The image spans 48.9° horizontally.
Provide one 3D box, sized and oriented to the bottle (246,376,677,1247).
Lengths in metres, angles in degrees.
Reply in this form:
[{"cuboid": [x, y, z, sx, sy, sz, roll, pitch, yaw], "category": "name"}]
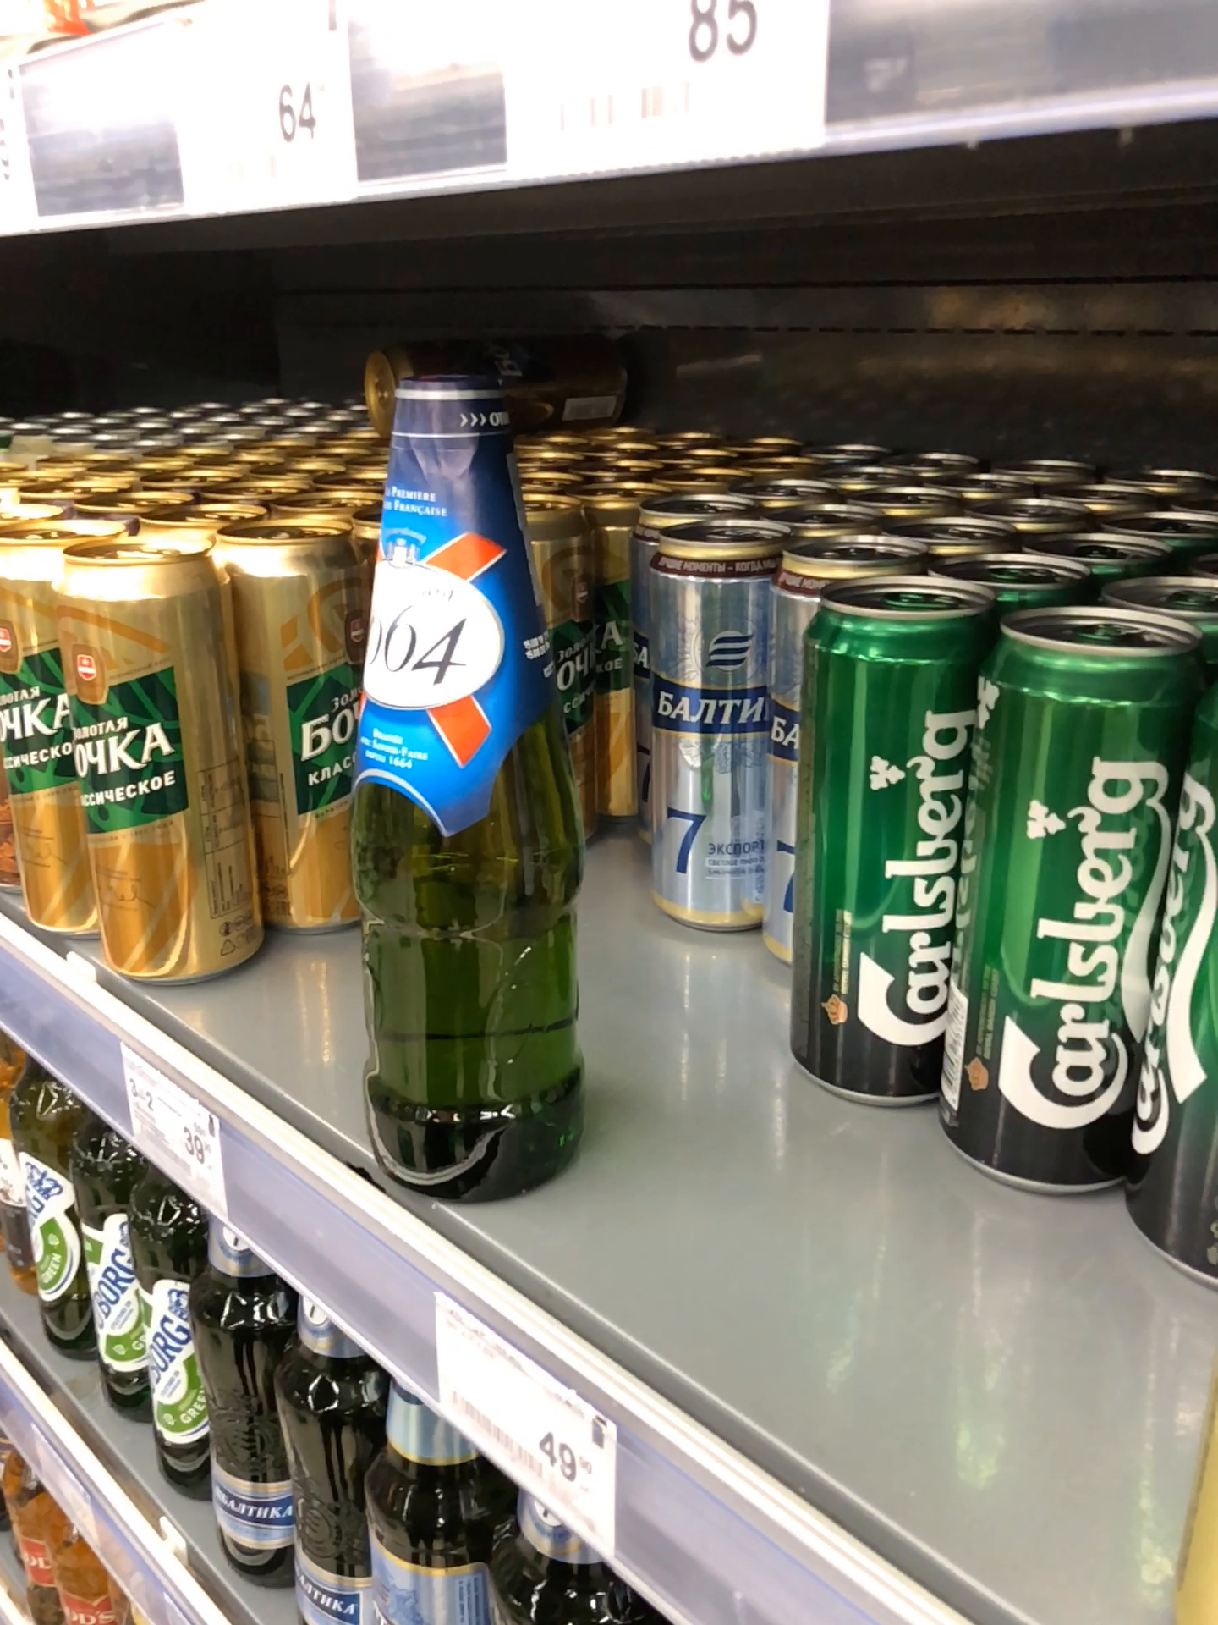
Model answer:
[{"cuboid": [-0.038, -0.005, 0.393, 0.080, 0.229, 0.080, 0, 20, 0], "category": "bottle"}]
